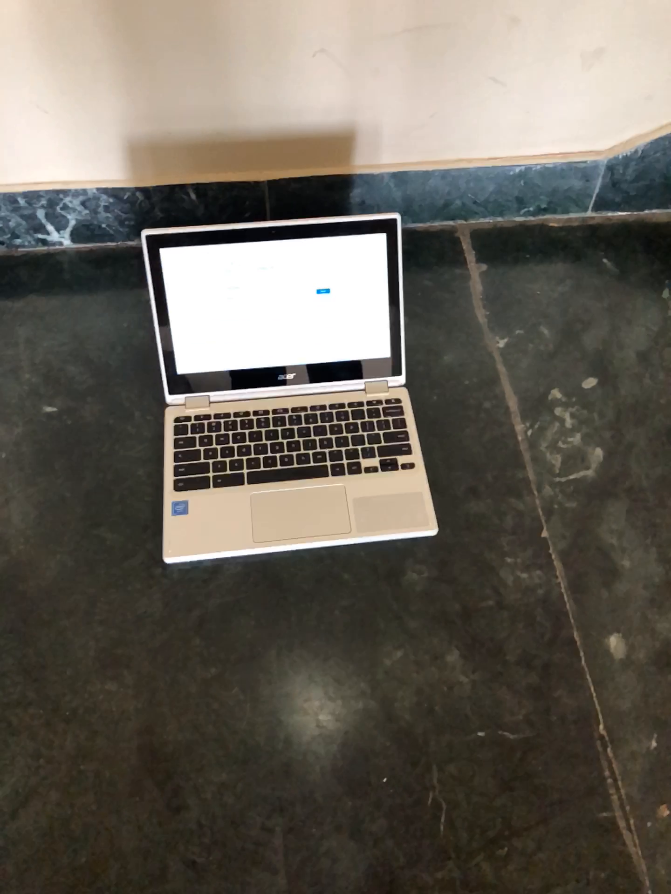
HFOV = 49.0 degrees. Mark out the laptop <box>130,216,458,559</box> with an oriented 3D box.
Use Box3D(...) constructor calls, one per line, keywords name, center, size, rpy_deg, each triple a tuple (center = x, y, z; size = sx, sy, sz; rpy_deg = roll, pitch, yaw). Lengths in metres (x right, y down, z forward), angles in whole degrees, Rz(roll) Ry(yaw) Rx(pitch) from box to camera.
Box3D(name="laptop", center=(-0.053, -0.072, 0.782), size=(0.281, 0.156, 0.315), rpy_deg=(-6, 56, -5))
